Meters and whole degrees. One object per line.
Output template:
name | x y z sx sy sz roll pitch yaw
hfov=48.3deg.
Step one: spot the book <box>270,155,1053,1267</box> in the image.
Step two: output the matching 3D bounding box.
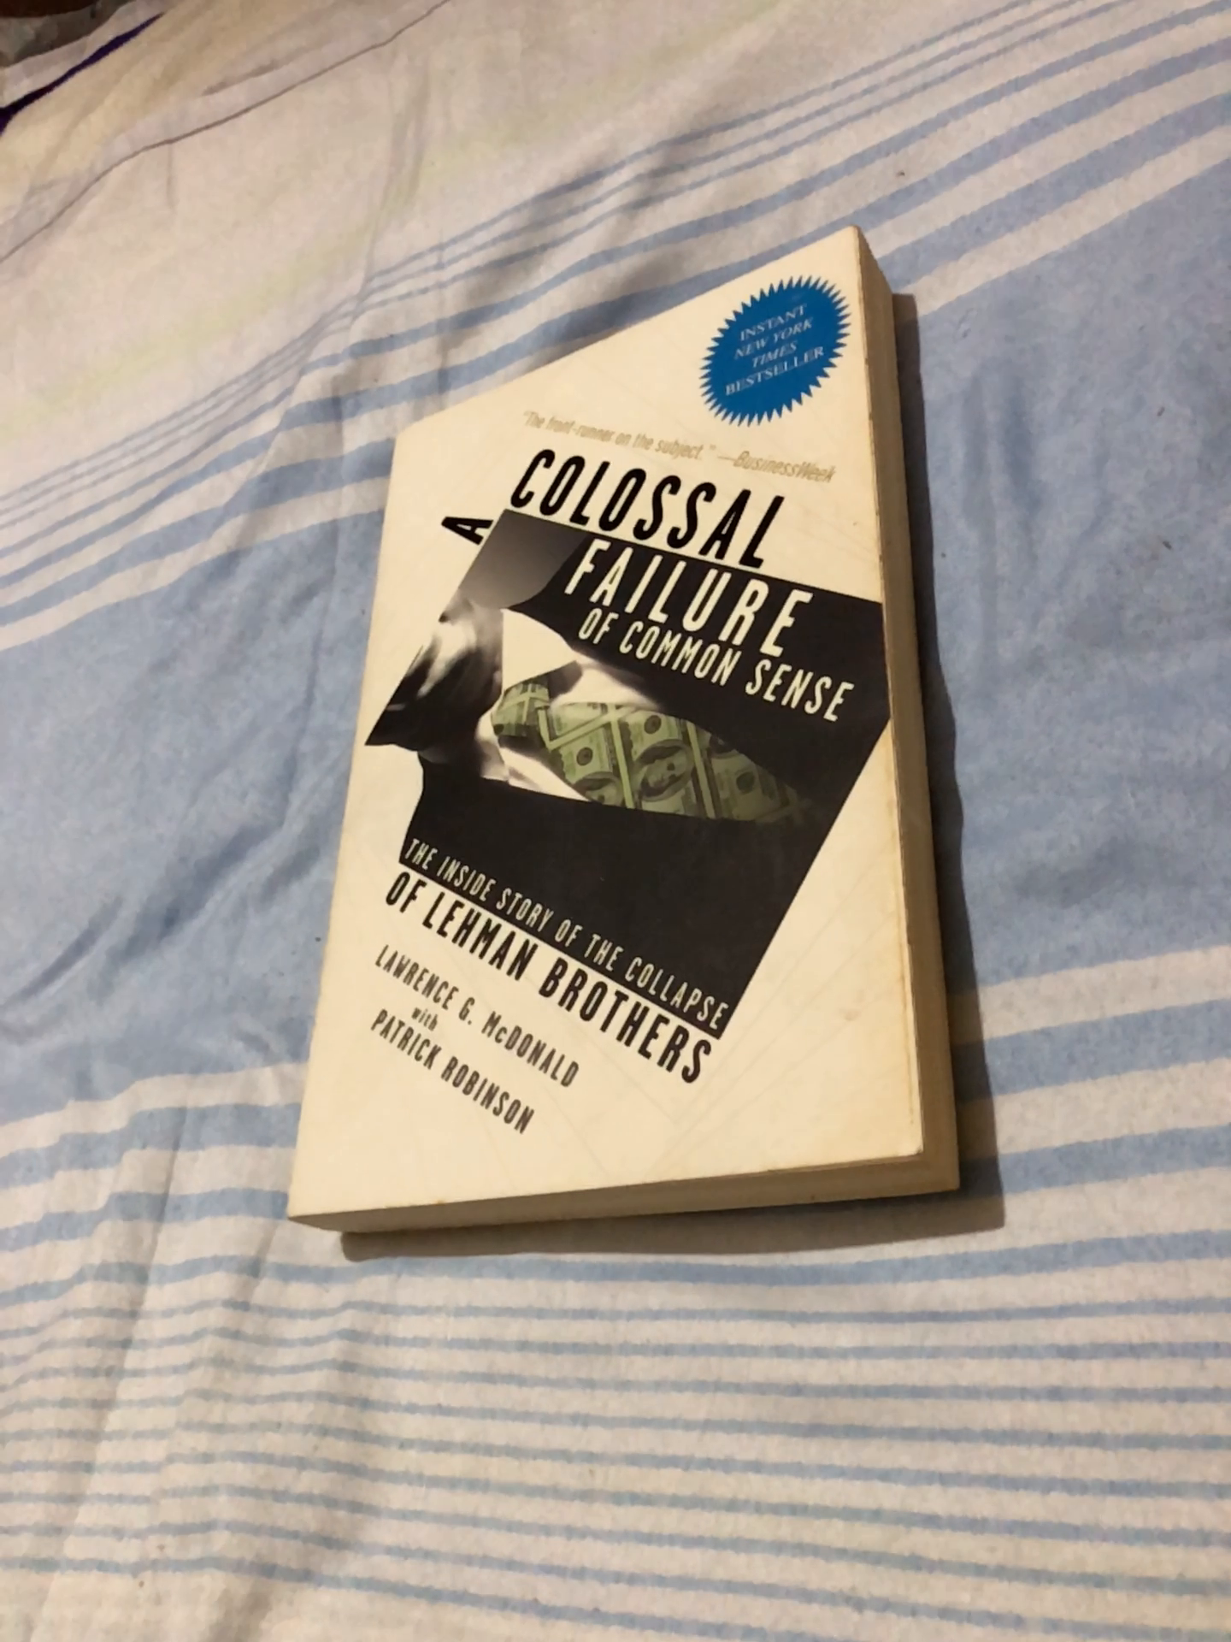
book | 0.006 -0.024 0.299 0.140 0.040 0.220 -14 60 27
